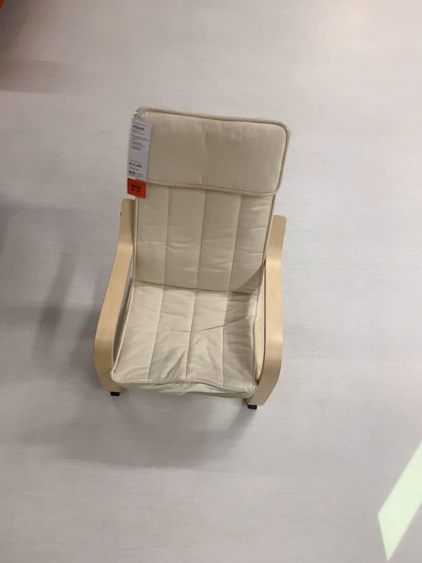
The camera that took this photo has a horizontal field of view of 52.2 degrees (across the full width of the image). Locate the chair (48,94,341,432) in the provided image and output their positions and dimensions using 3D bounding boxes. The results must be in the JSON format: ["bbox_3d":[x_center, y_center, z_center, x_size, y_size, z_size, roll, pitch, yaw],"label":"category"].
[{"bbox_3d":[-0.042,0.027,1.198,0.490,0.798,0.541,5,57,-2],"label":"chair"}]
